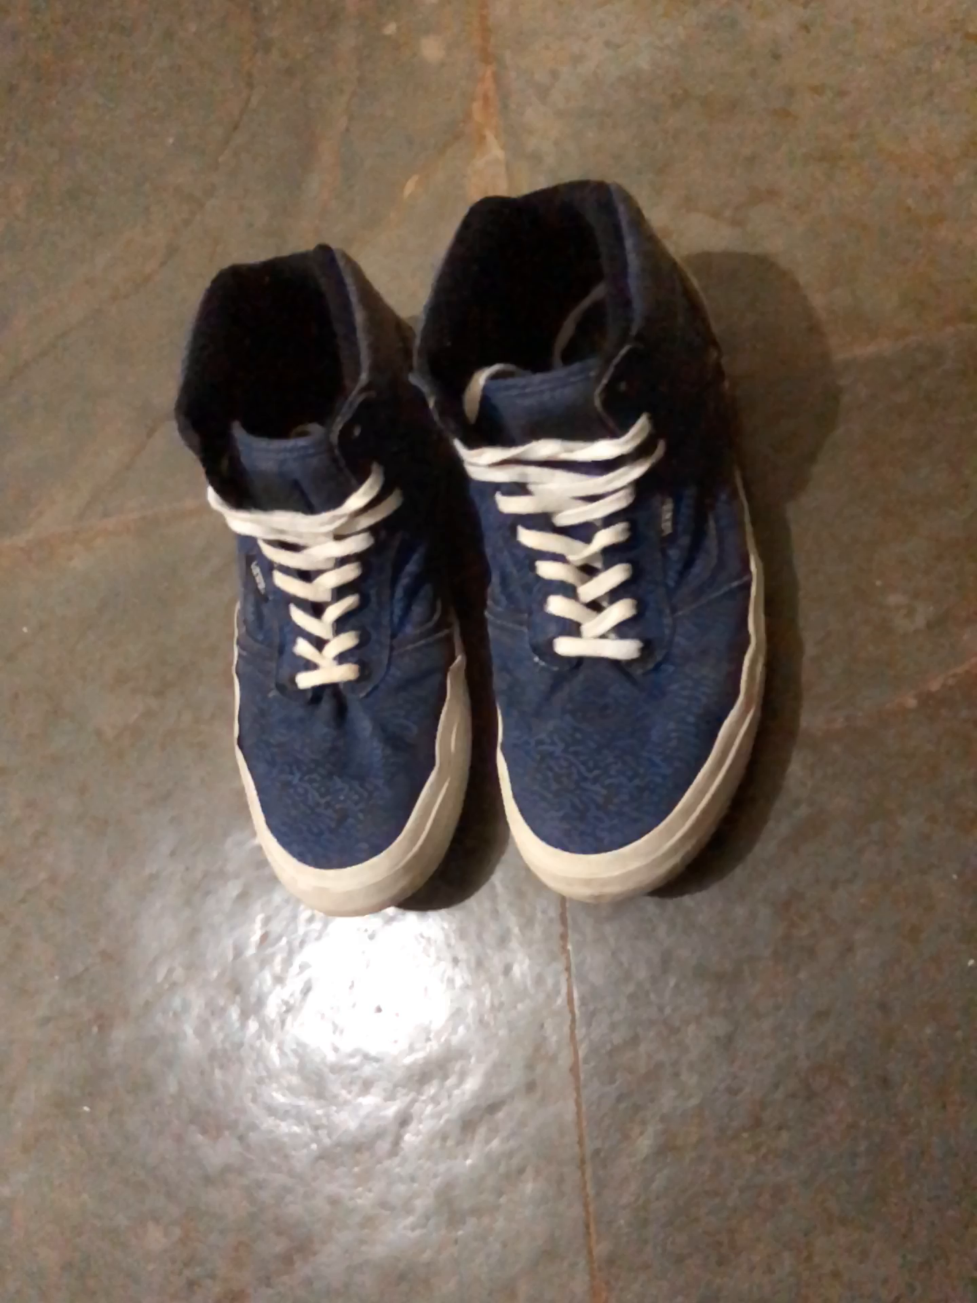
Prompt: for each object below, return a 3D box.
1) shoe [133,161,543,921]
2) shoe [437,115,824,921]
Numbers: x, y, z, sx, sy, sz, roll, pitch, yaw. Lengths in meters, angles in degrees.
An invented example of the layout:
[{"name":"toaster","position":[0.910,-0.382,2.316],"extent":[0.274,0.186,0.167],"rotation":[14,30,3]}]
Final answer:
[{"name":"shoe","position":[-0.058,-0.035,0.451],"extent":[0.120,0.110,0.281],"rotation":[-7,74,16]},{"name":"shoe","position":[0.054,-0.042,0.413],"extent":[0.120,0.090,0.280],"rotation":[-4,75,17]}]
